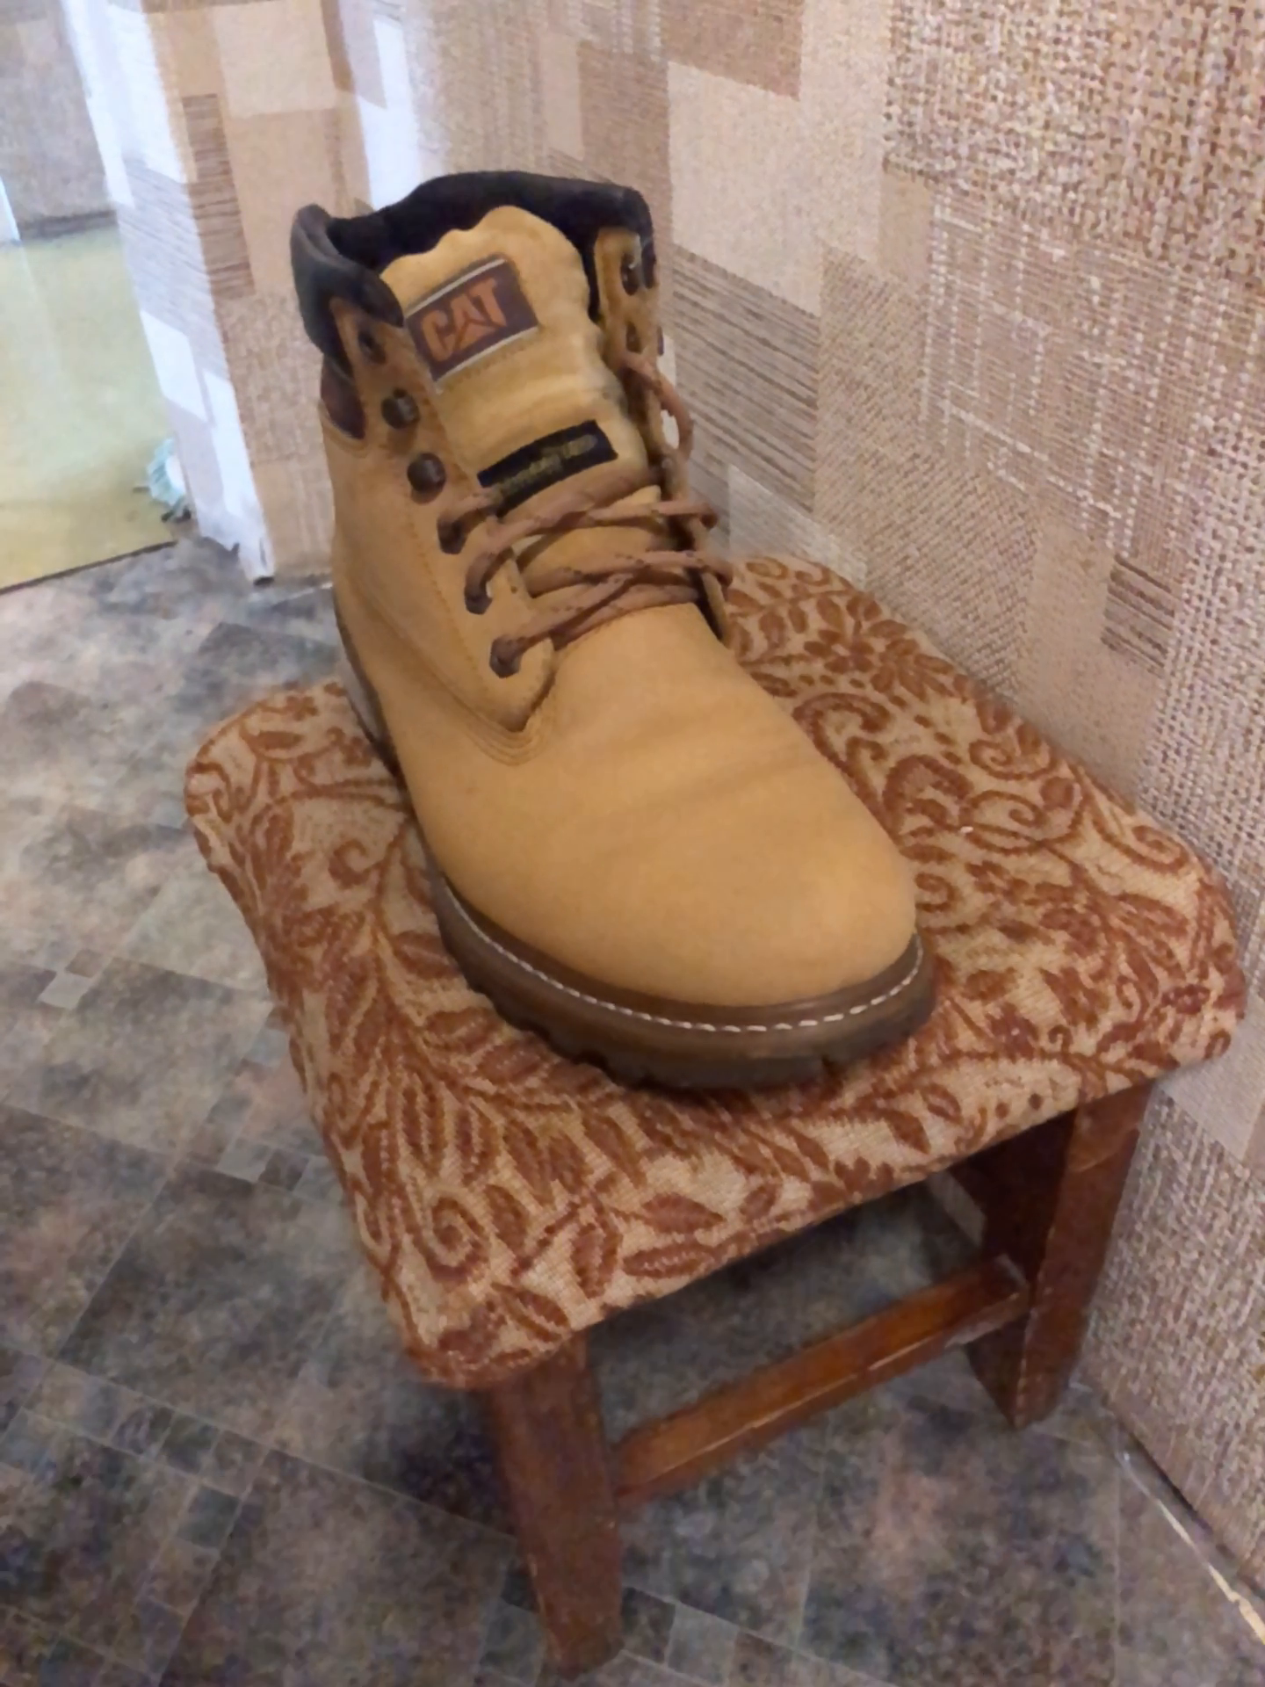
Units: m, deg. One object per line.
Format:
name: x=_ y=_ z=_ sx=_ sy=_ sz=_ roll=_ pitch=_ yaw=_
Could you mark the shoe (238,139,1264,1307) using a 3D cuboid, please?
shoe: x=0.008 y=-0.061 z=0.405 sx=0.130 sy=0.189 sz=0.291 roll=-19 pitch=43 yaw=-20
